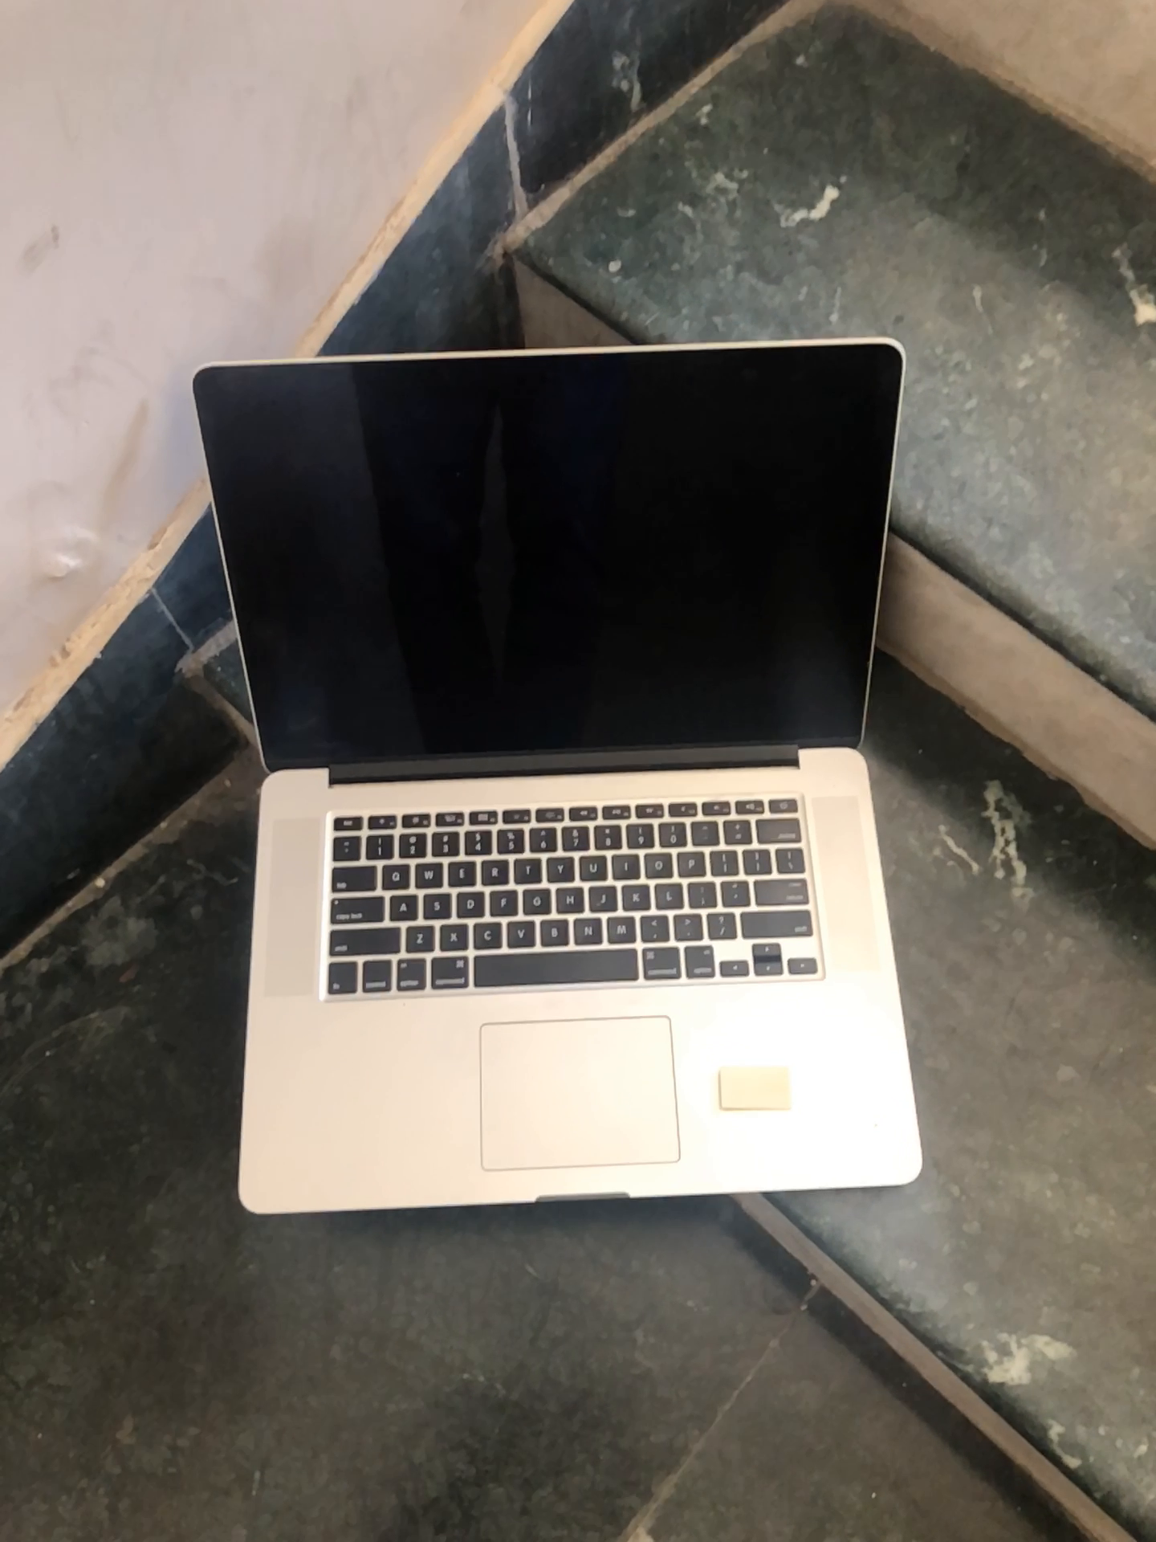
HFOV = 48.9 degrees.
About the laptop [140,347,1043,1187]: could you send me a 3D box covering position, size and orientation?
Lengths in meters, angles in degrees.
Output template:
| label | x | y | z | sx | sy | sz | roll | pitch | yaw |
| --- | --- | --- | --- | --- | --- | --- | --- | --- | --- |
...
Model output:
| label | x | y | z | sx | sy | sz | roll | pitch | yaw |
| --- | --- | --- | --- | --- | --- | --- | --- | --- | --- |
| laptop | -0.004 | 0.003 | 0.642 | 0.341 | 0.194 | 0.364 | -3 | 66 | -1 |
